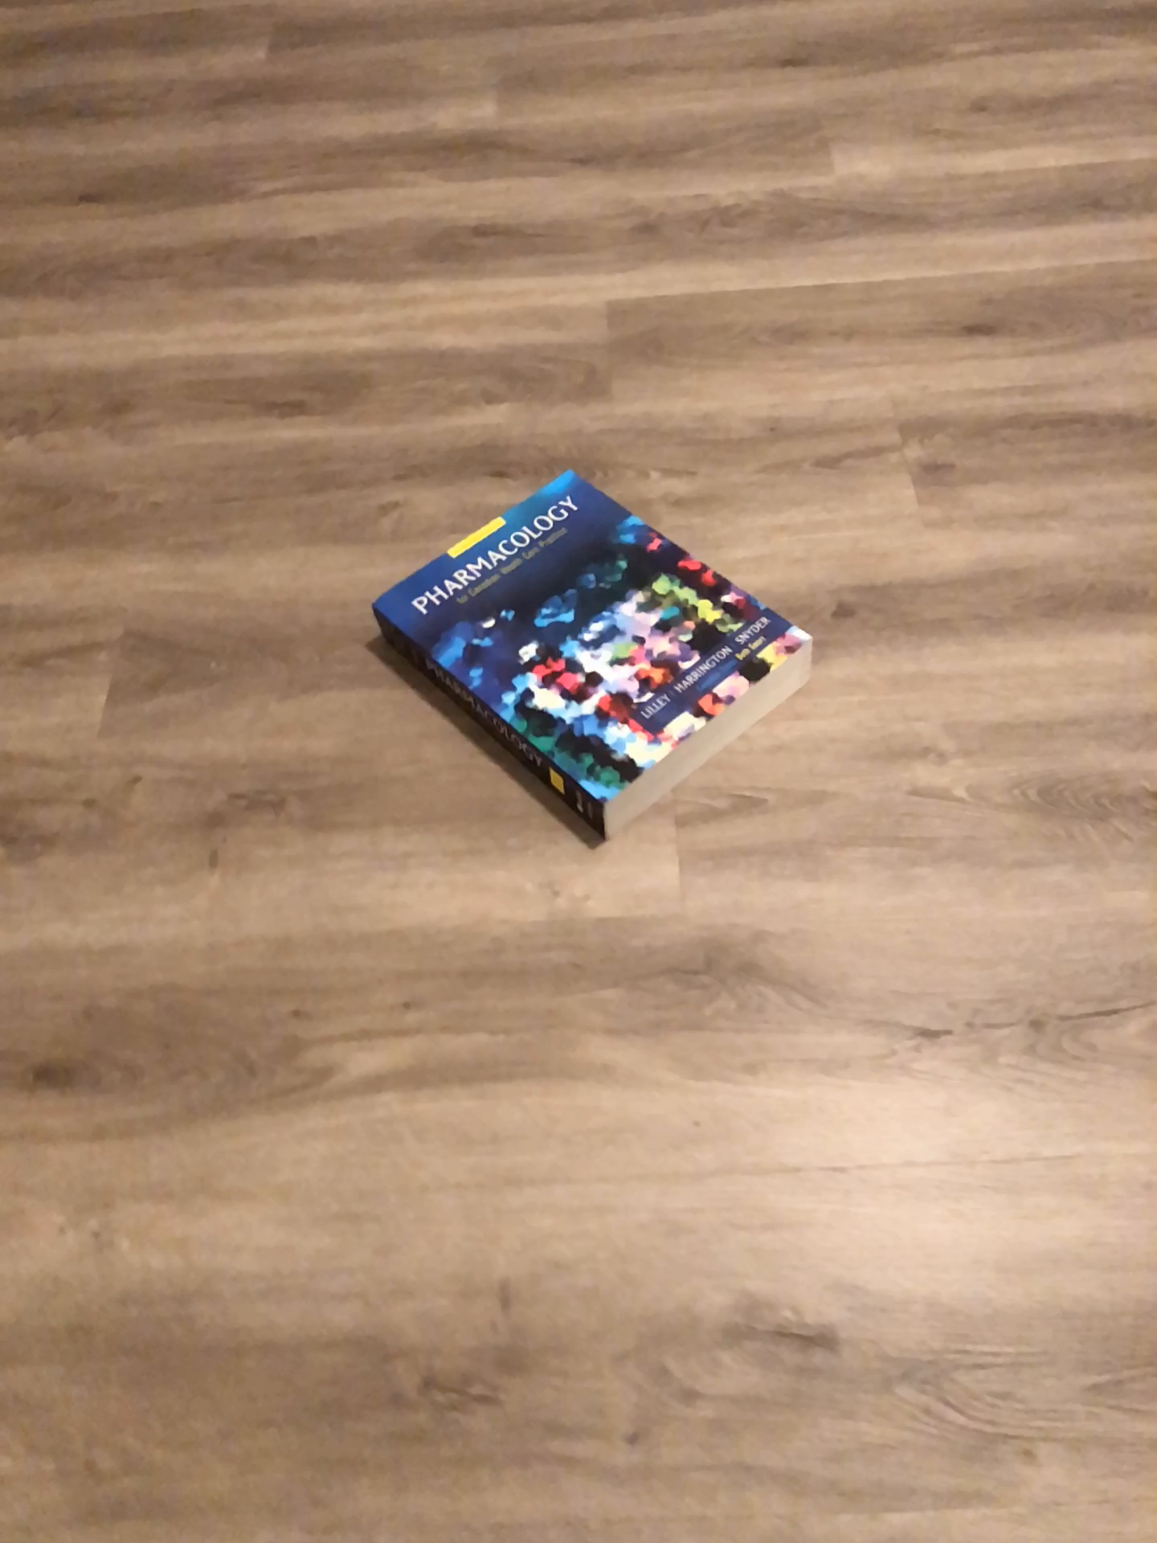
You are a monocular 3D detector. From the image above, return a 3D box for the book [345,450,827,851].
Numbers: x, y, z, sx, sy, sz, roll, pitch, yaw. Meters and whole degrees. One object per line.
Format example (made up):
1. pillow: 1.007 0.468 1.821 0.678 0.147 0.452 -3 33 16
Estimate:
1. book: 0.003 -0.105 0.958 0.228 0.046 0.278 -39 60 -21
